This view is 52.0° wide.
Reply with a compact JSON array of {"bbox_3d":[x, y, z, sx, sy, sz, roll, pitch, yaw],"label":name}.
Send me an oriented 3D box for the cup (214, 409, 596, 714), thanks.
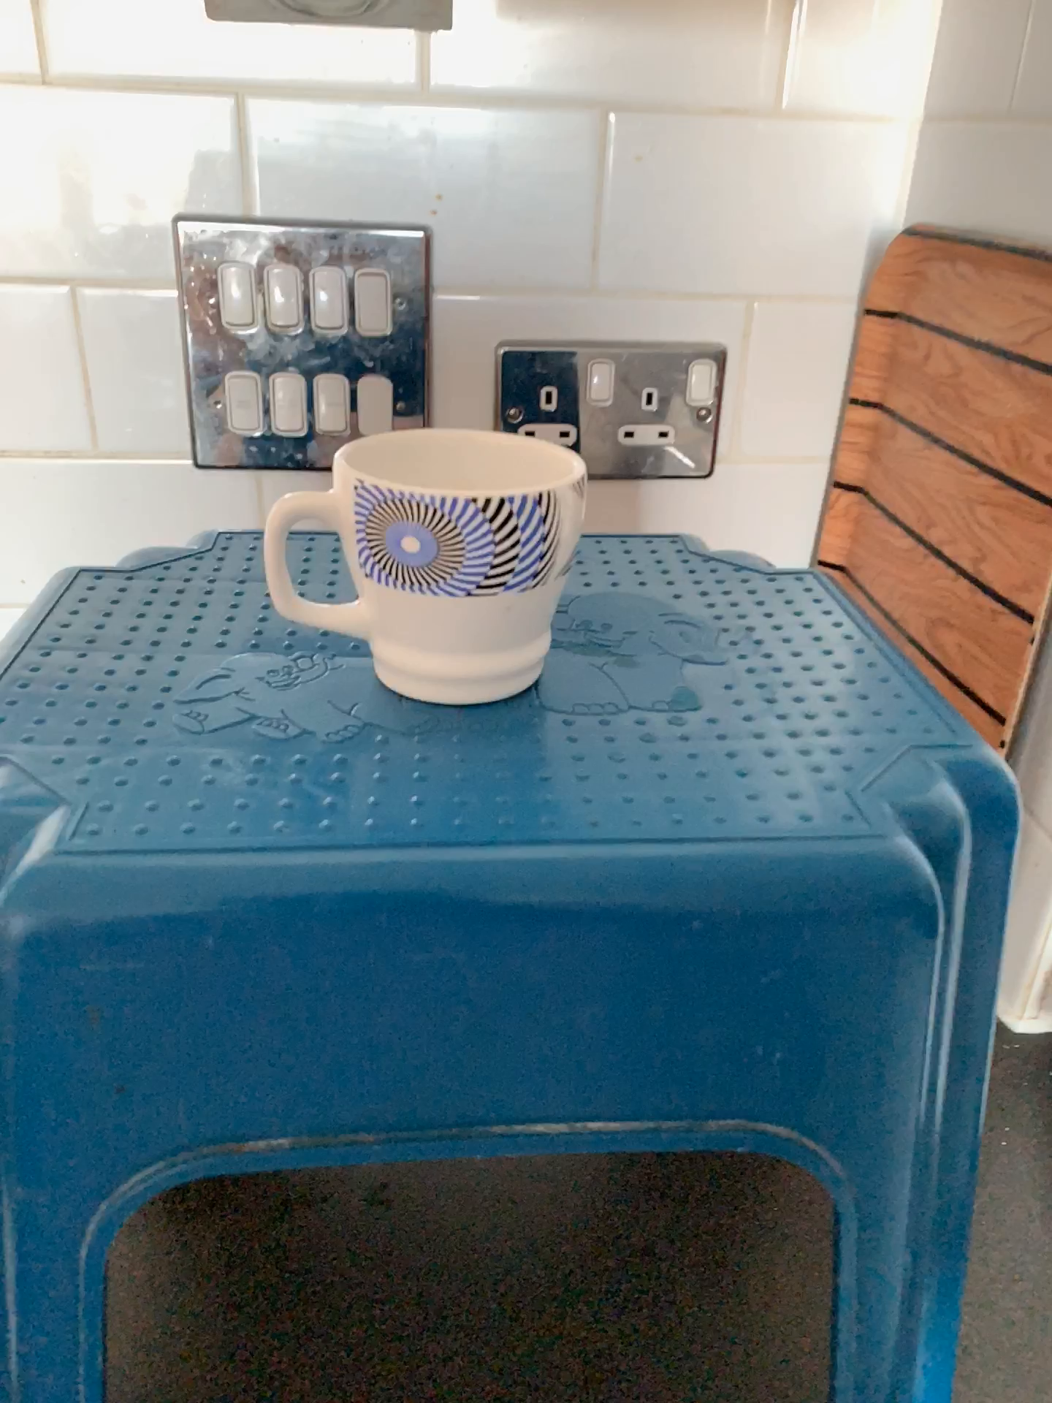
[{"bbox_3d":[-0.029,-0.040,0.290,0.085,0.055,0.079,2,27,-1],"label":"cup"}]
